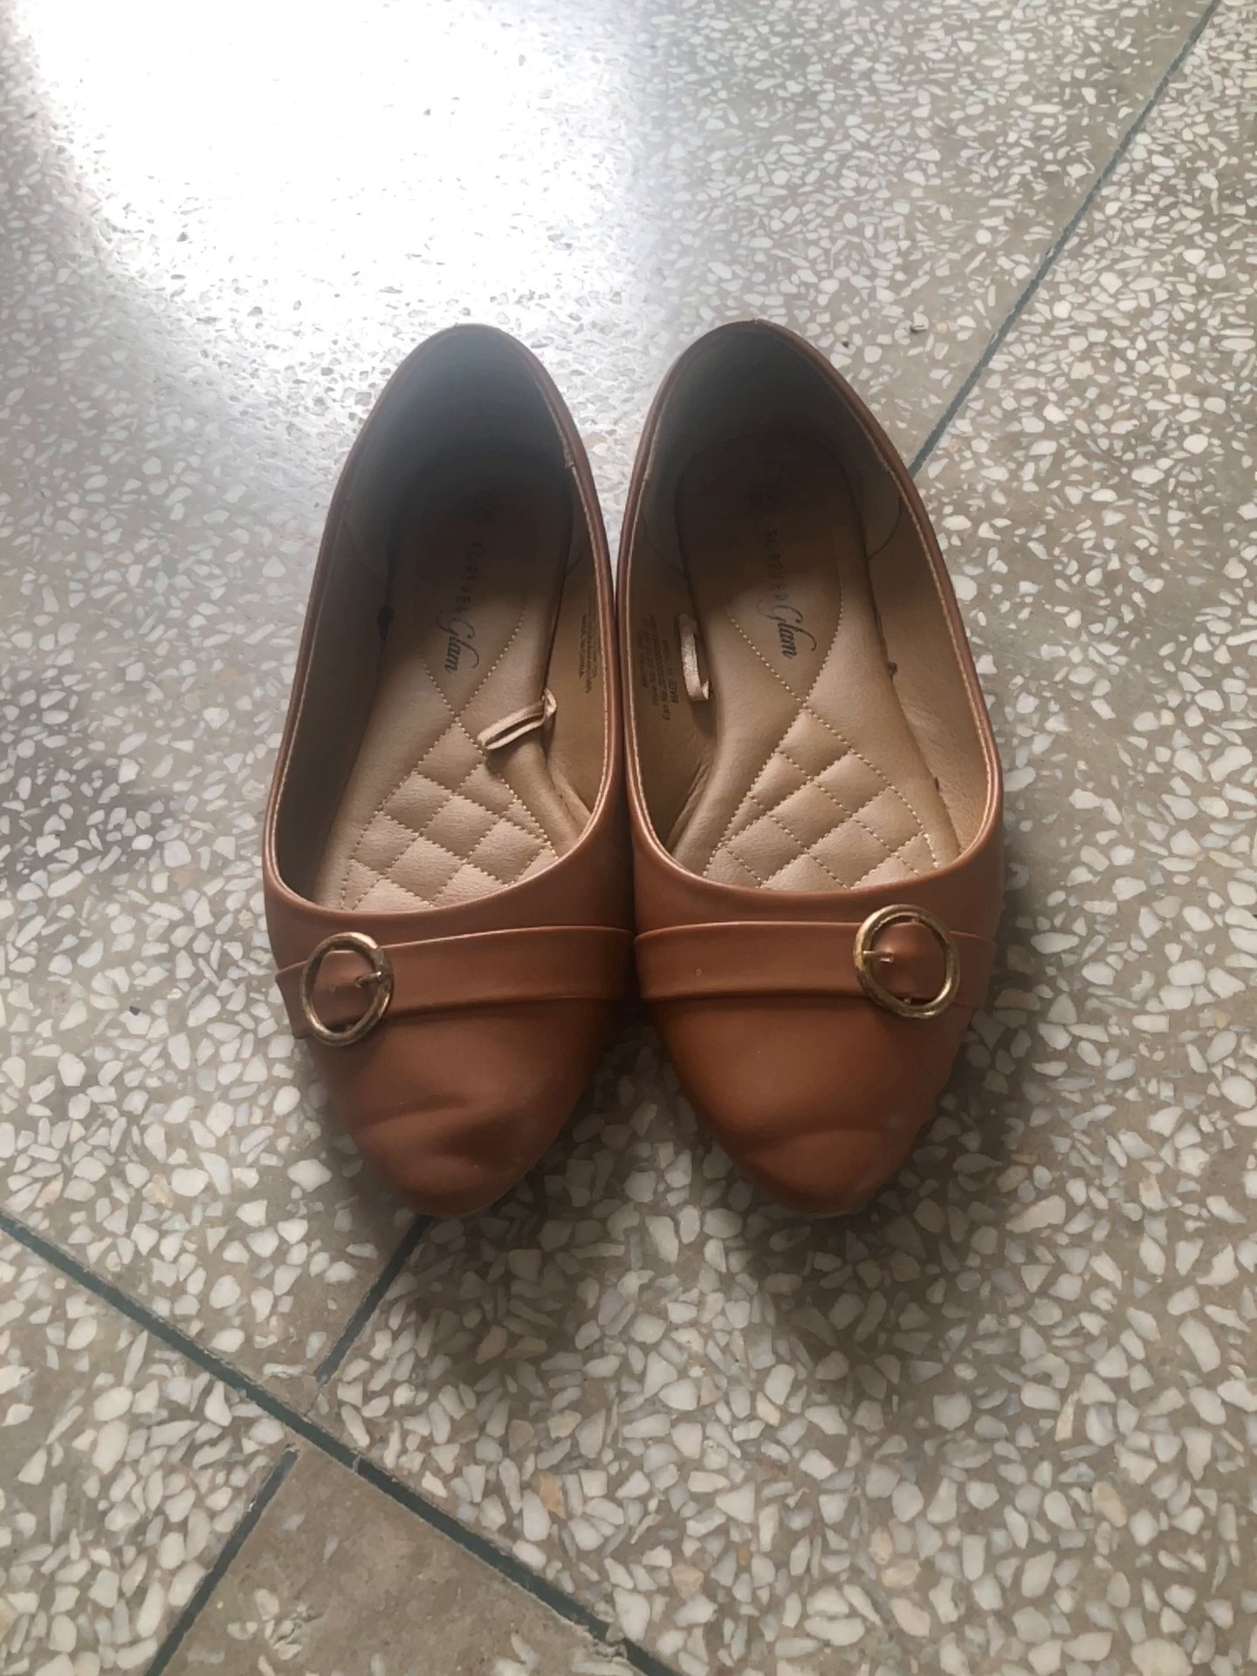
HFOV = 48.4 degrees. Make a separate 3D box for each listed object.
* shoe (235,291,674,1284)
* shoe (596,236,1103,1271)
[{"bbox_3d":[-0.045,-0.018,0.367,0.090,0.050,0.250,-7,70,9],"label":"shoe"},{"bbox_3d":[0.048,-0.026,0.351,0.090,0.050,0.250,-7,70,9],"label":"shoe"}]
